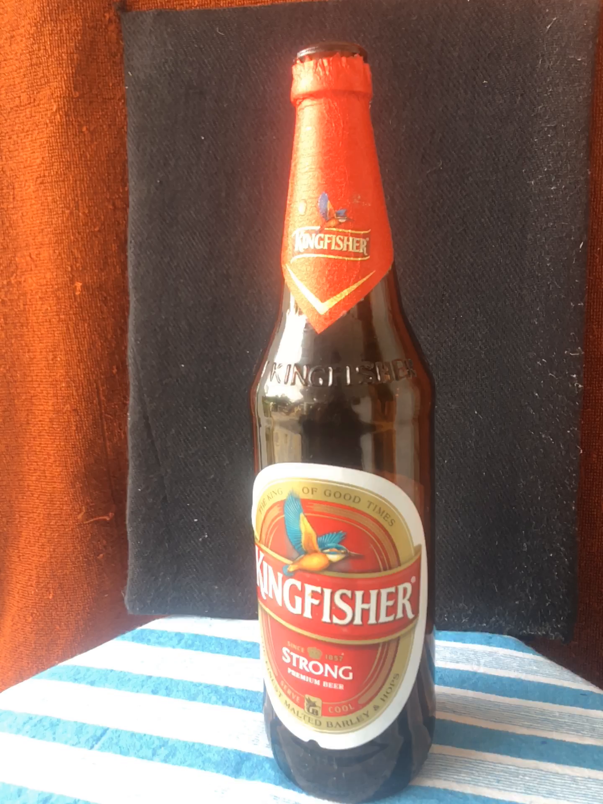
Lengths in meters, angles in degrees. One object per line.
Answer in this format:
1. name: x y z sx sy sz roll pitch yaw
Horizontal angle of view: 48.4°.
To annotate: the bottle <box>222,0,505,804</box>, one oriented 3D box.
1. bottle: 0.026 0.009 0.261 0.080 0.289 0.070 4 14 20
